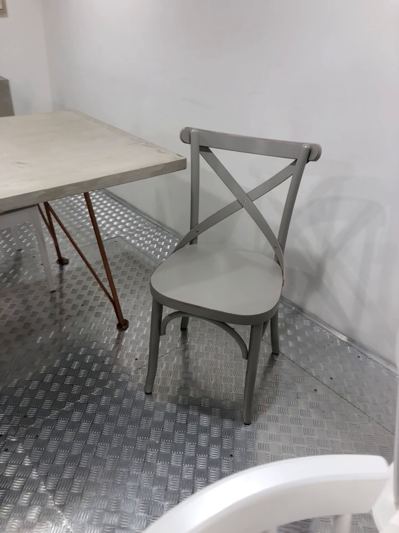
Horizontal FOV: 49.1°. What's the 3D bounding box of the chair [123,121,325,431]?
[{"bbox_3d":[0.086,0.018,1.573,0.510,0.893,0.504,12,32,14],"label":"chair"}]
